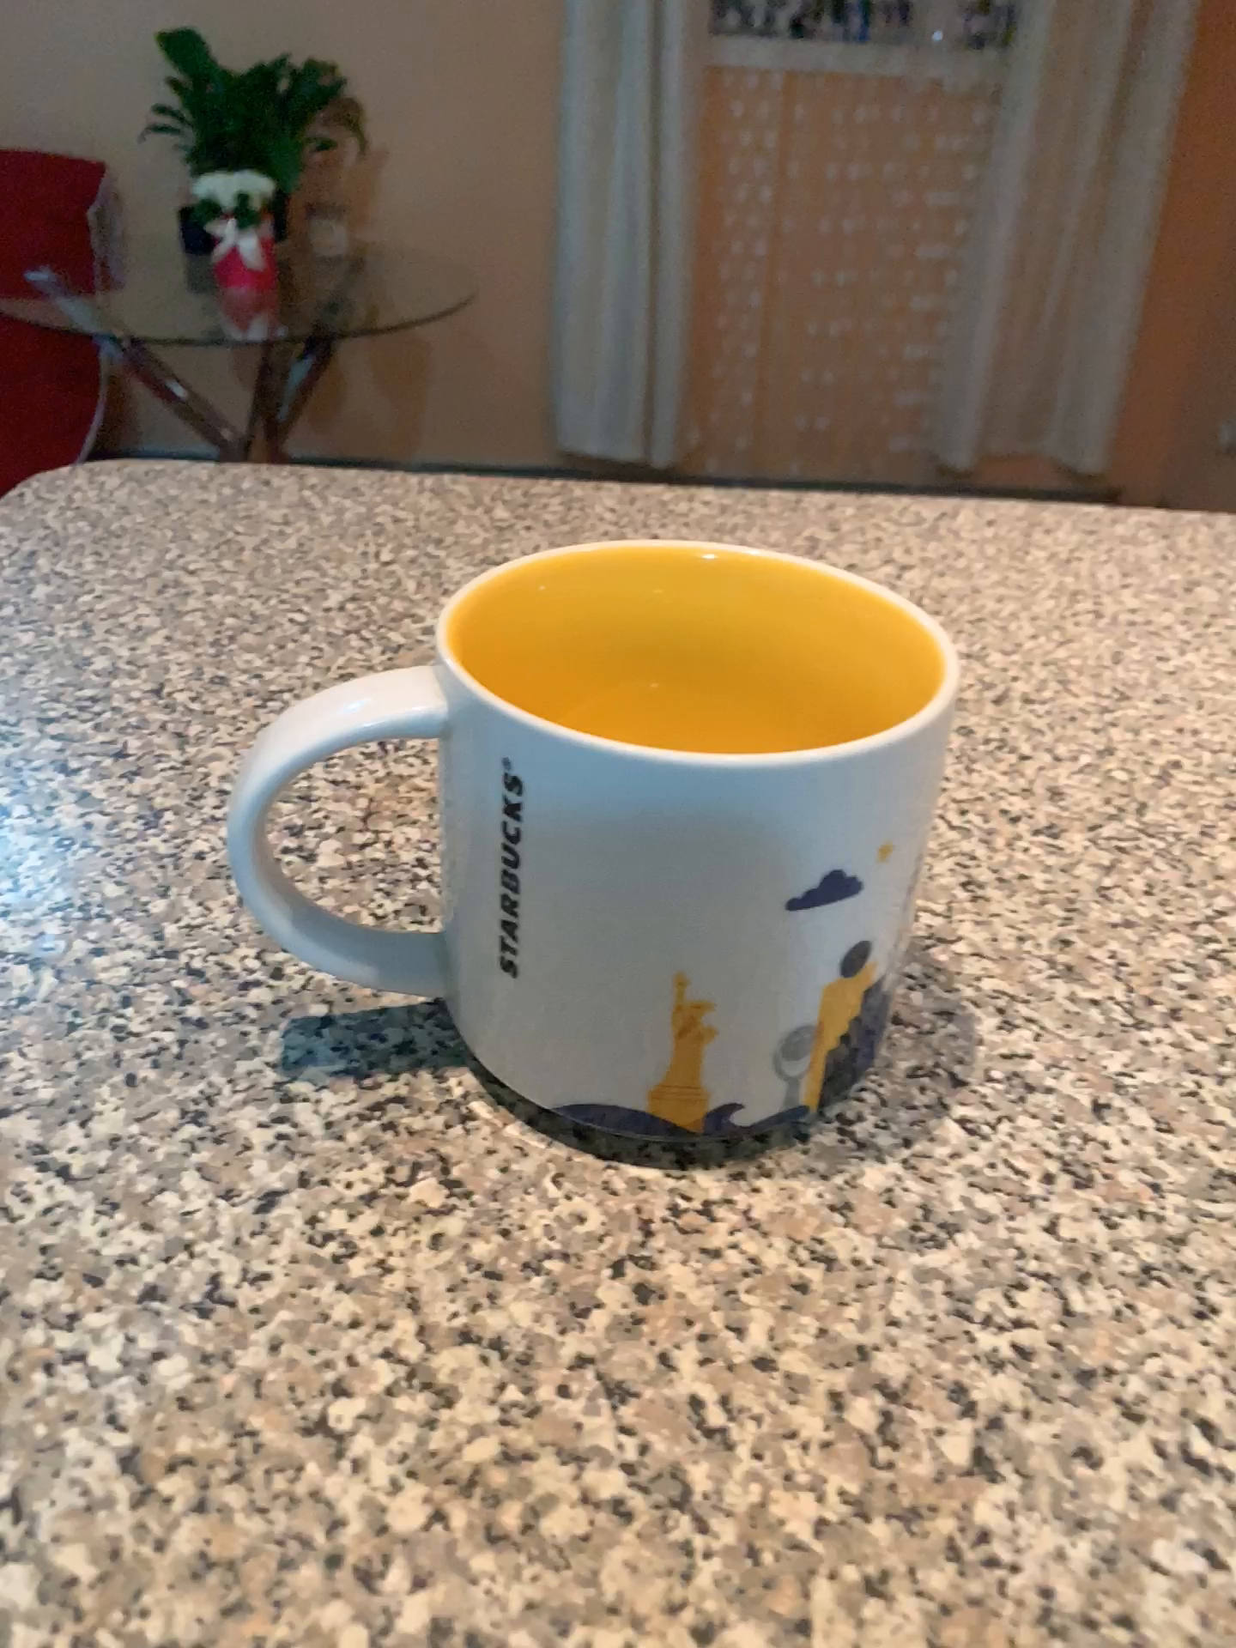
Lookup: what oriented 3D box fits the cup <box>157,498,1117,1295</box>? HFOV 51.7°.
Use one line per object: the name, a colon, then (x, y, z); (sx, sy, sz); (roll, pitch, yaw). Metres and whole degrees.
cup: (-0.006, 0.002, 0.244); (0.139, 0.087, 0.103); (-9, 35, -17)
